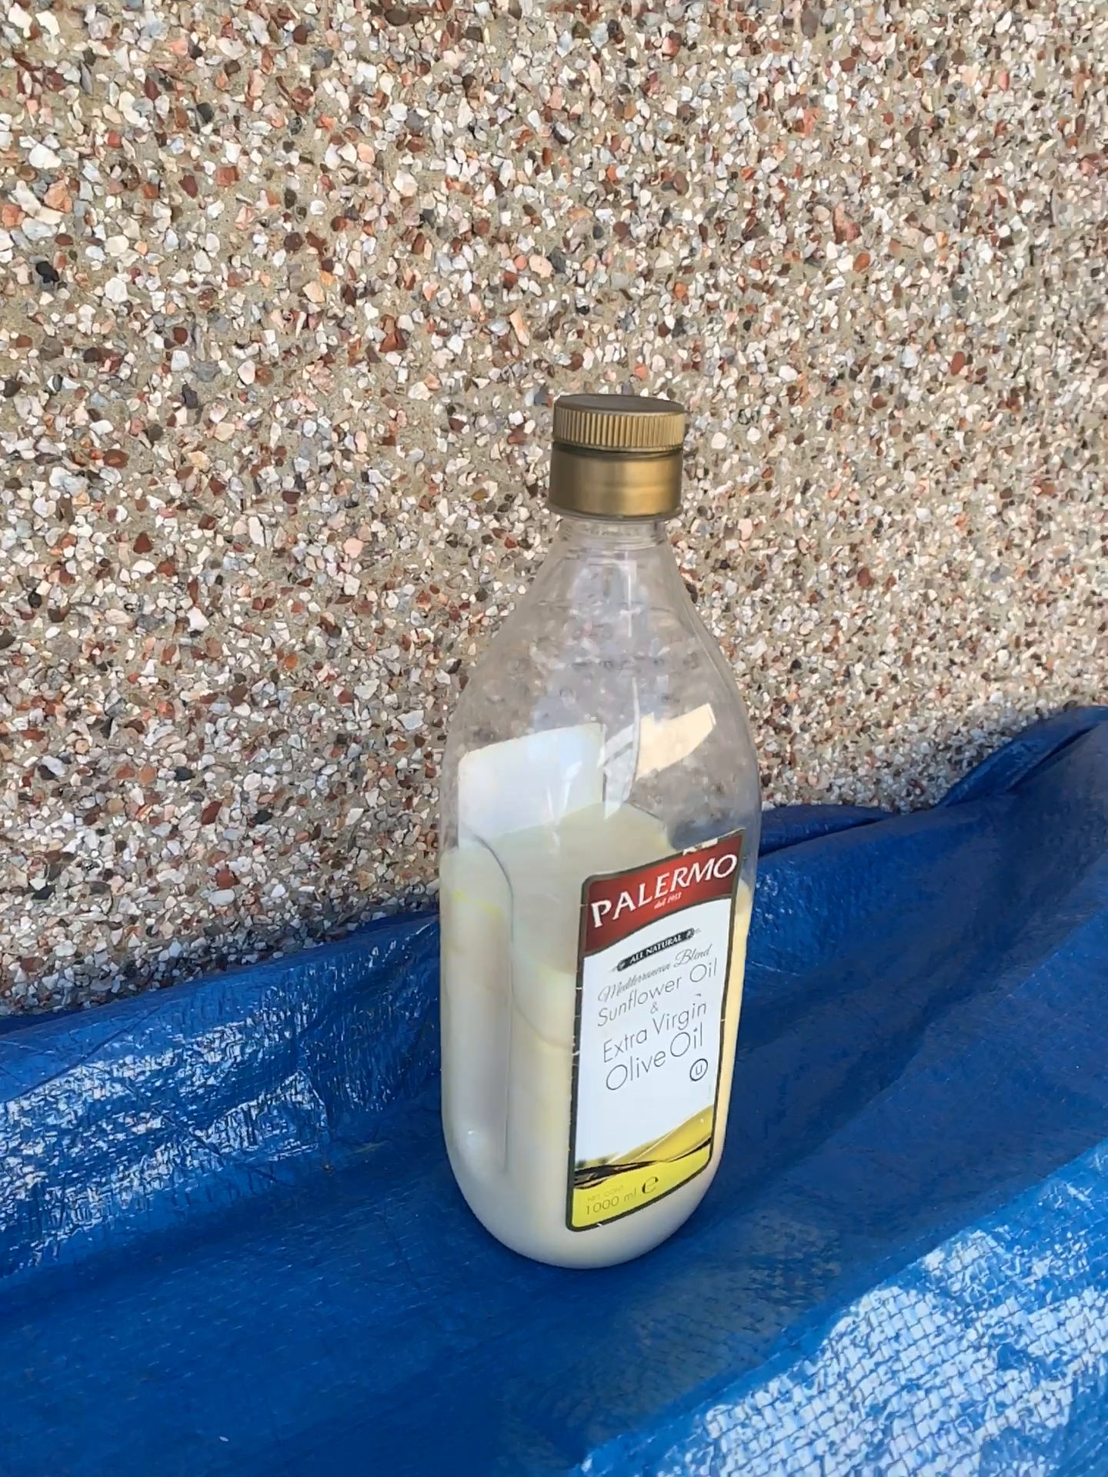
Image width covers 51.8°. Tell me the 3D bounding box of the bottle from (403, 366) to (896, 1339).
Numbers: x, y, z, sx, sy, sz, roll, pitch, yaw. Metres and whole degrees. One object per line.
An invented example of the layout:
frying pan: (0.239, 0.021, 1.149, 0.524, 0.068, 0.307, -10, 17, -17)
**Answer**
bottle: (0.016, 0.031, 0.308, 0.080, 0.238, 0.081, 1, 25, -1)
